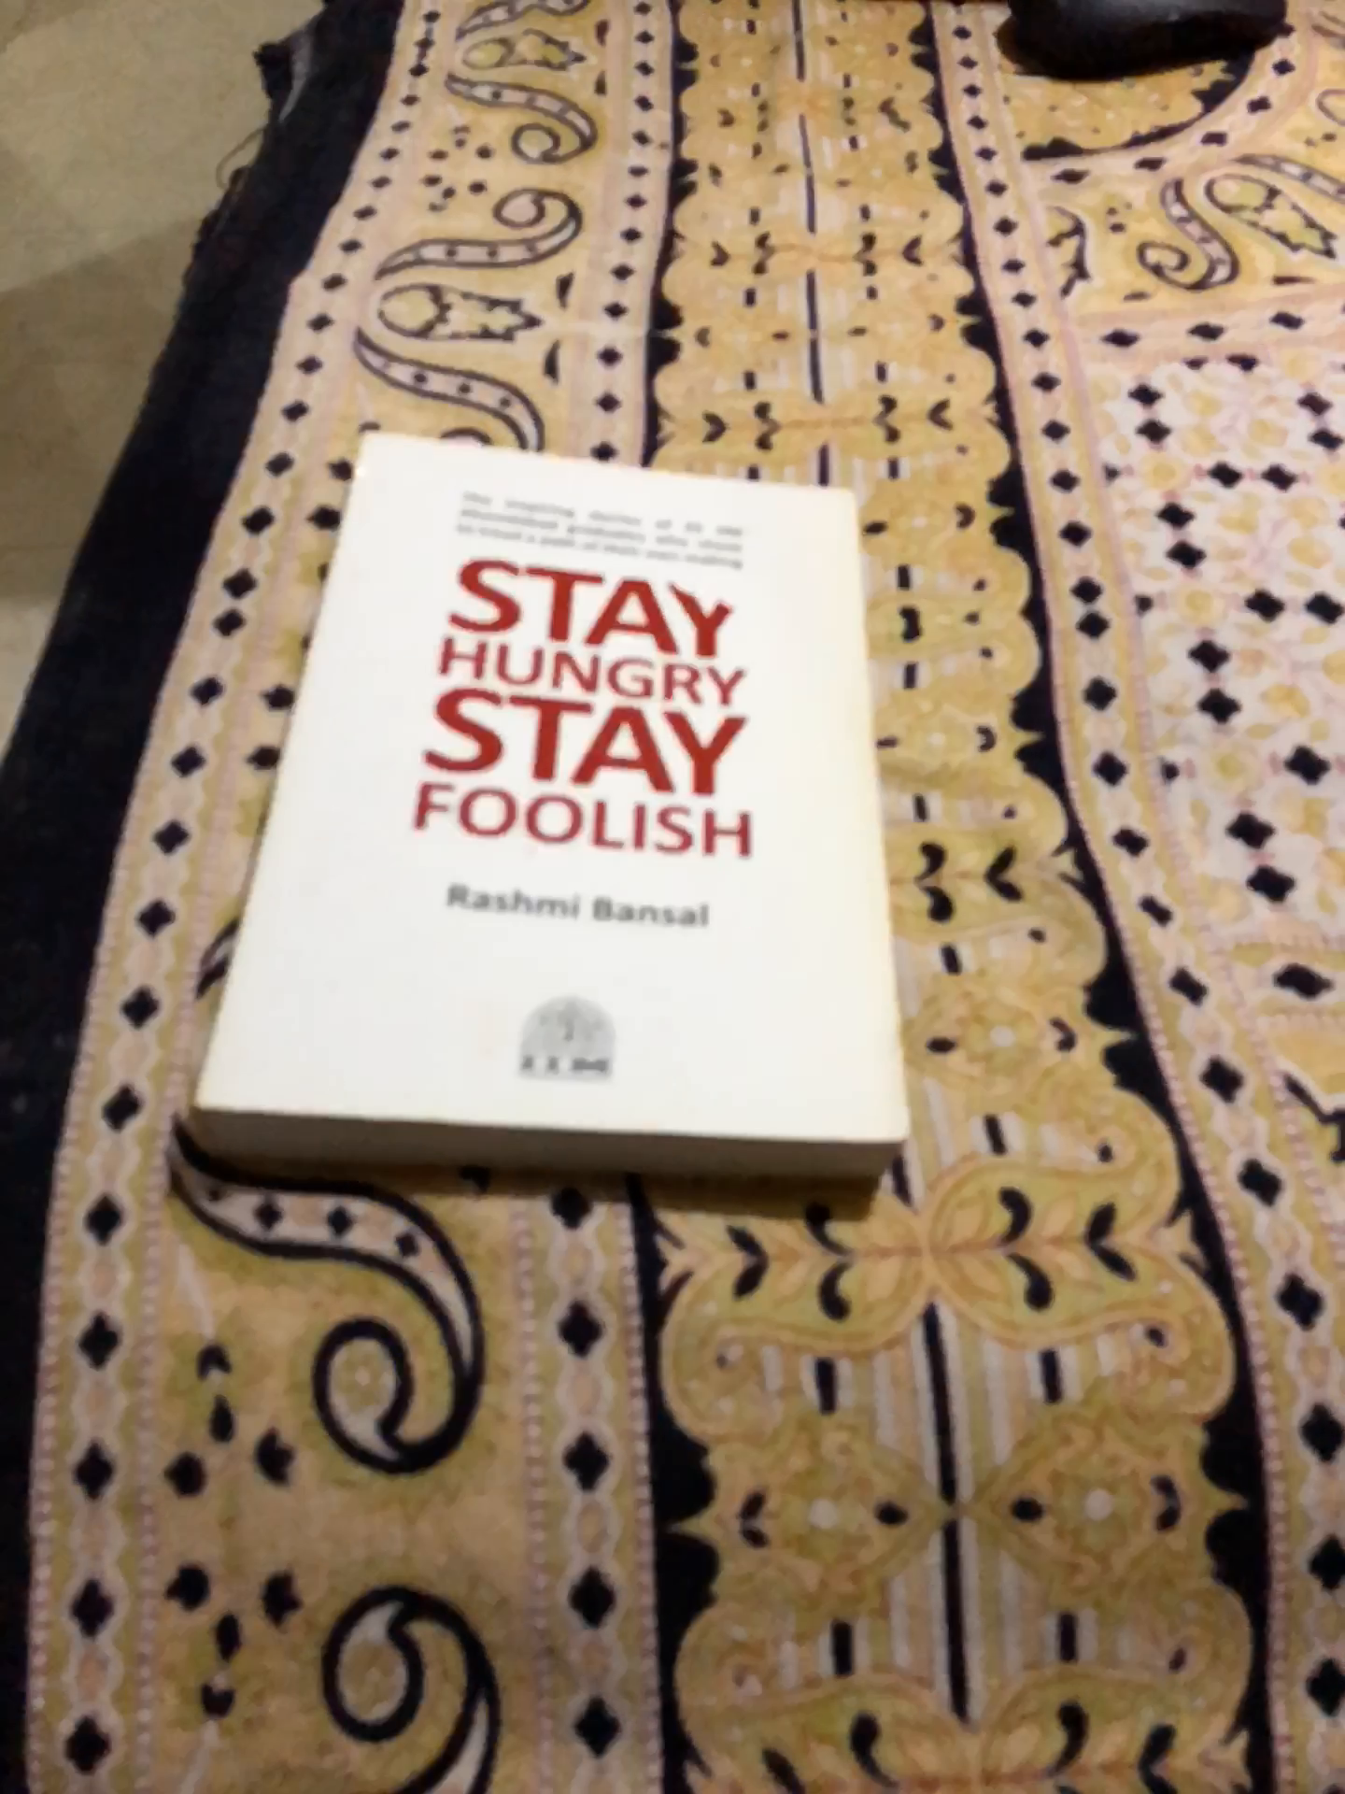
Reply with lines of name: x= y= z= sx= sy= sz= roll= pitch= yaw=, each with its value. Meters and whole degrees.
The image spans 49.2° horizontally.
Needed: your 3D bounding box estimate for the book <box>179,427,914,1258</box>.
book: x=-0.021 y=-0.025 z=0.358 sx=0.140 sy=0.040 sz=0.211 roll=5 pitch=53 yaw=-3
